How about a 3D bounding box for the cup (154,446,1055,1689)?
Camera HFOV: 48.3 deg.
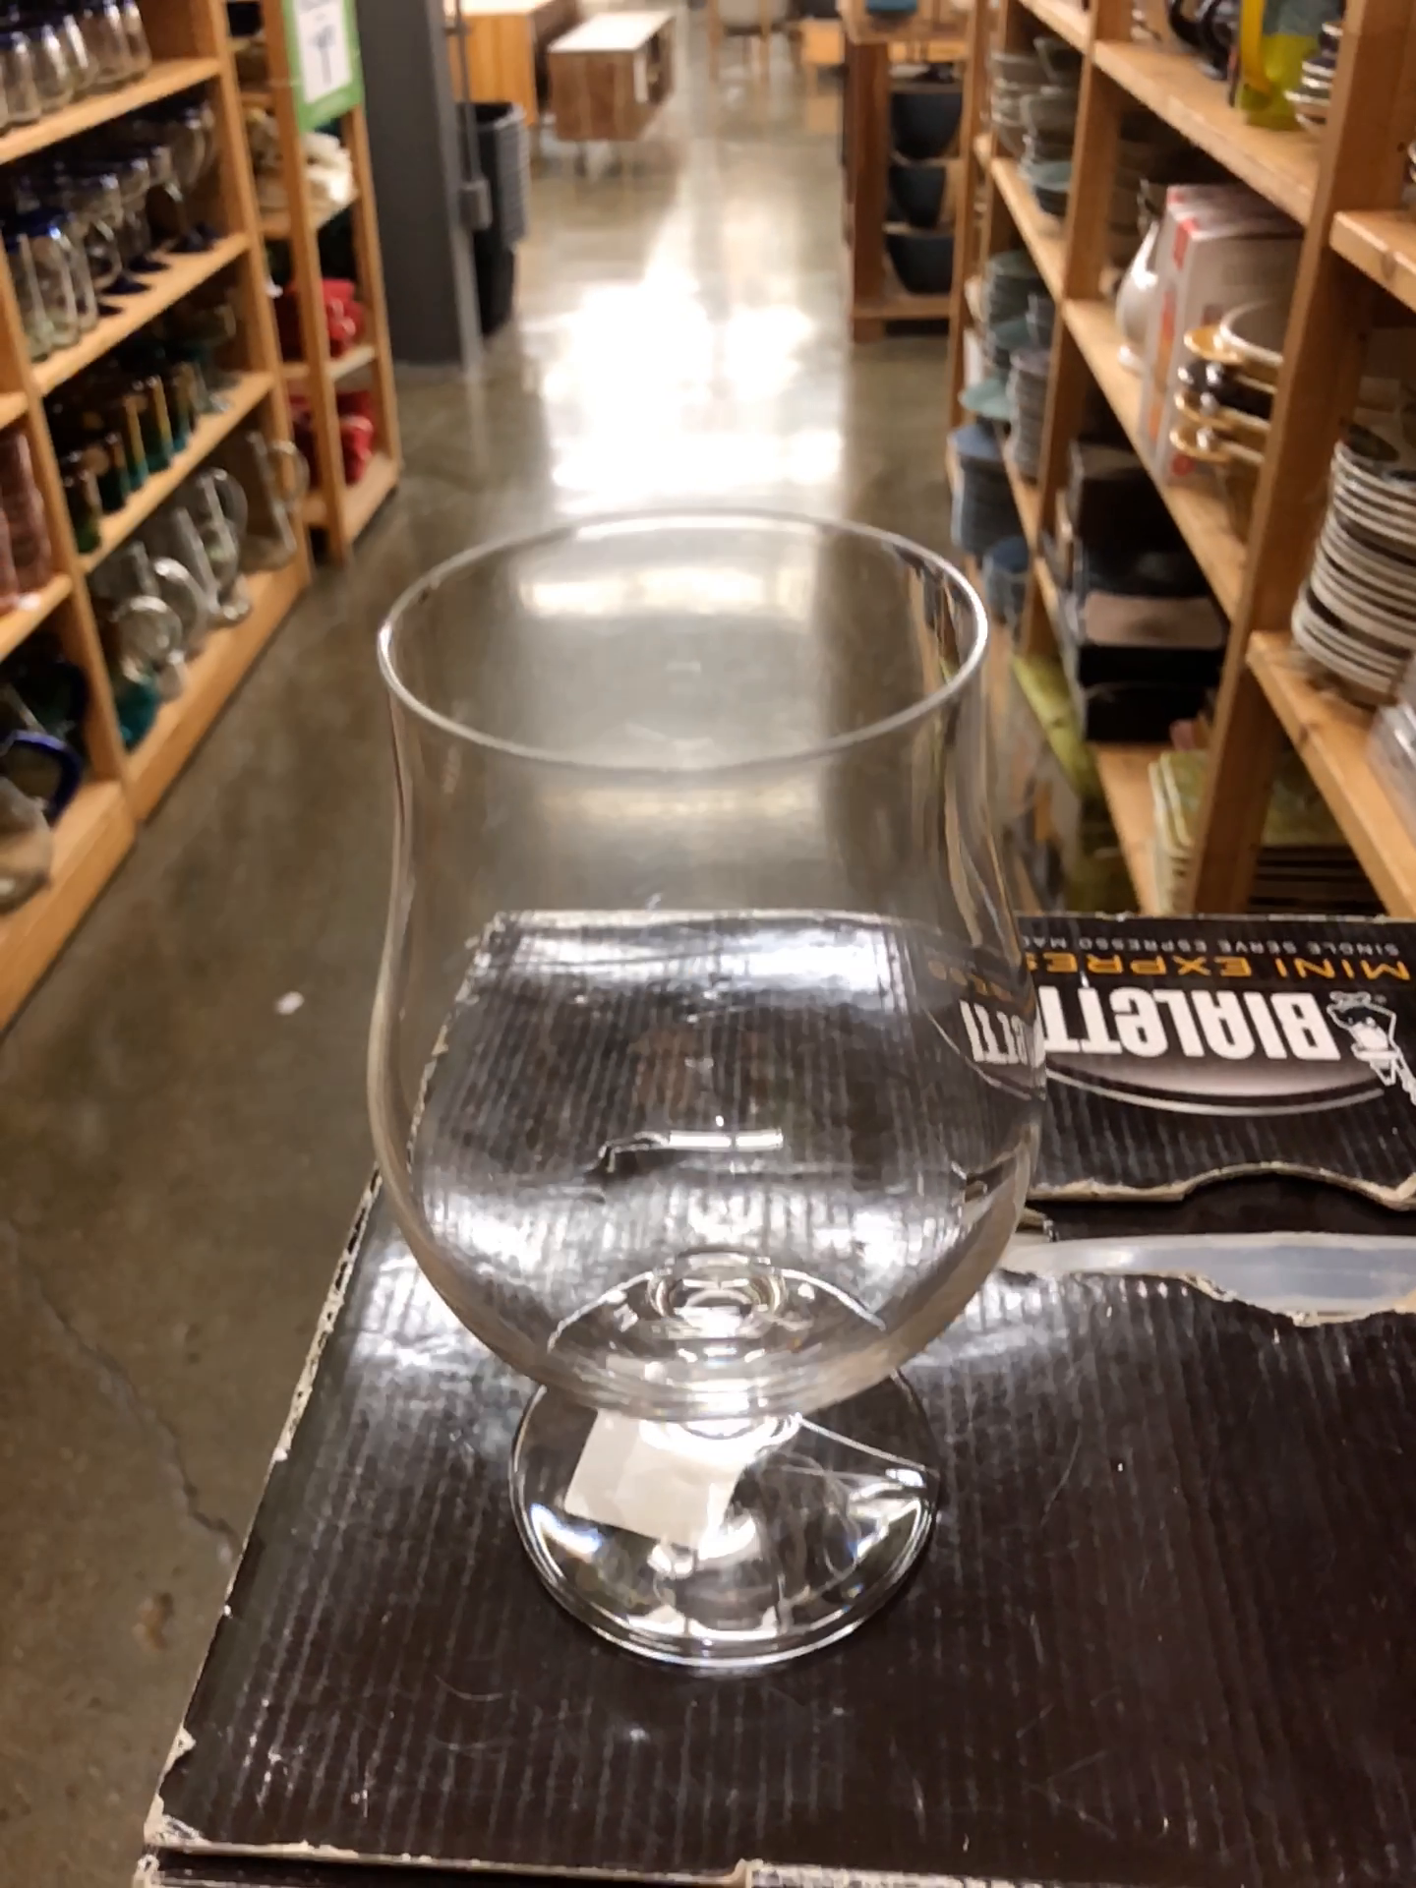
[{"bbox_3d":[-0.005,0.018,0.213,0.079,0.145,0.083,-1,34,1],"label":"cup"}]
